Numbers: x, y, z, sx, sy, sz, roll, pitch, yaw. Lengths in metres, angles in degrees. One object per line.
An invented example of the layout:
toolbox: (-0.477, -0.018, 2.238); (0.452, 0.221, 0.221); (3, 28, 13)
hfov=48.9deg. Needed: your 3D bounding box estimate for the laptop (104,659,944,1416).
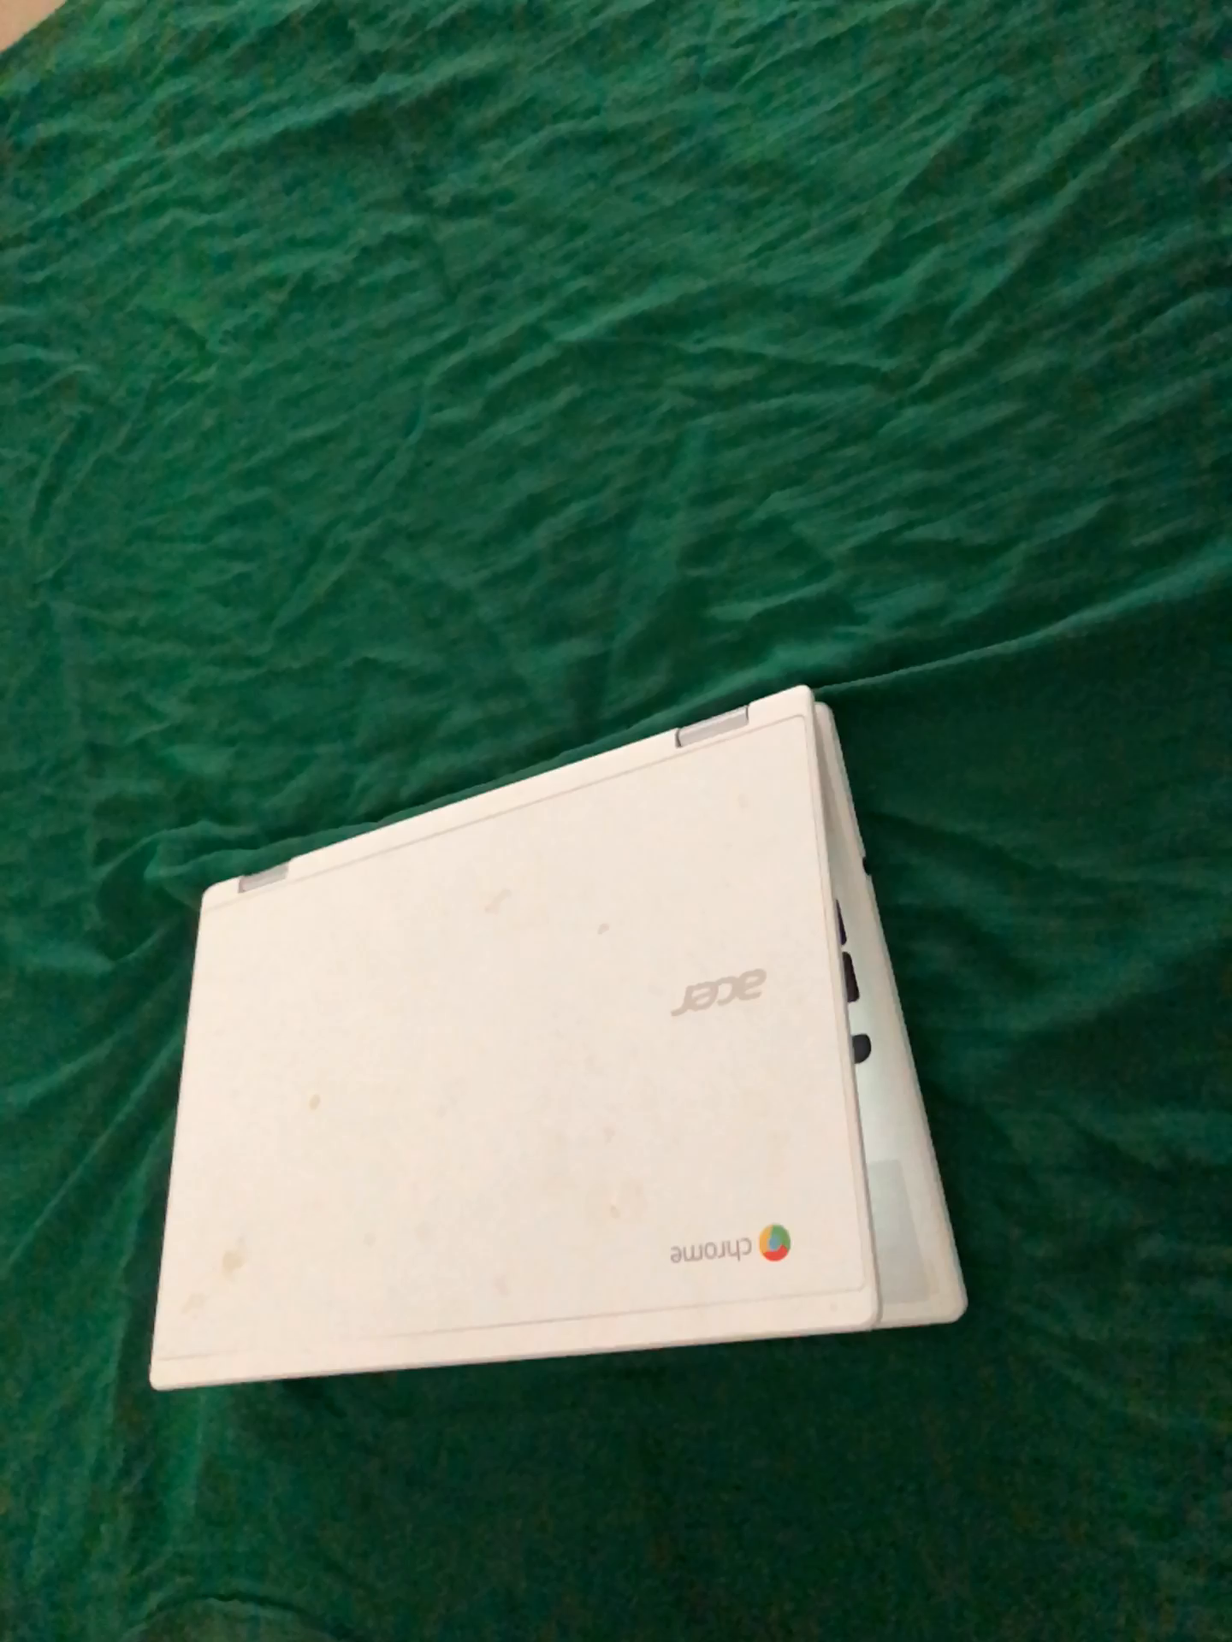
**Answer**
laptop: (-0.051, 0.087, 0.465); (0.281, 0.065, 0.193); (-17, 76, 30)
